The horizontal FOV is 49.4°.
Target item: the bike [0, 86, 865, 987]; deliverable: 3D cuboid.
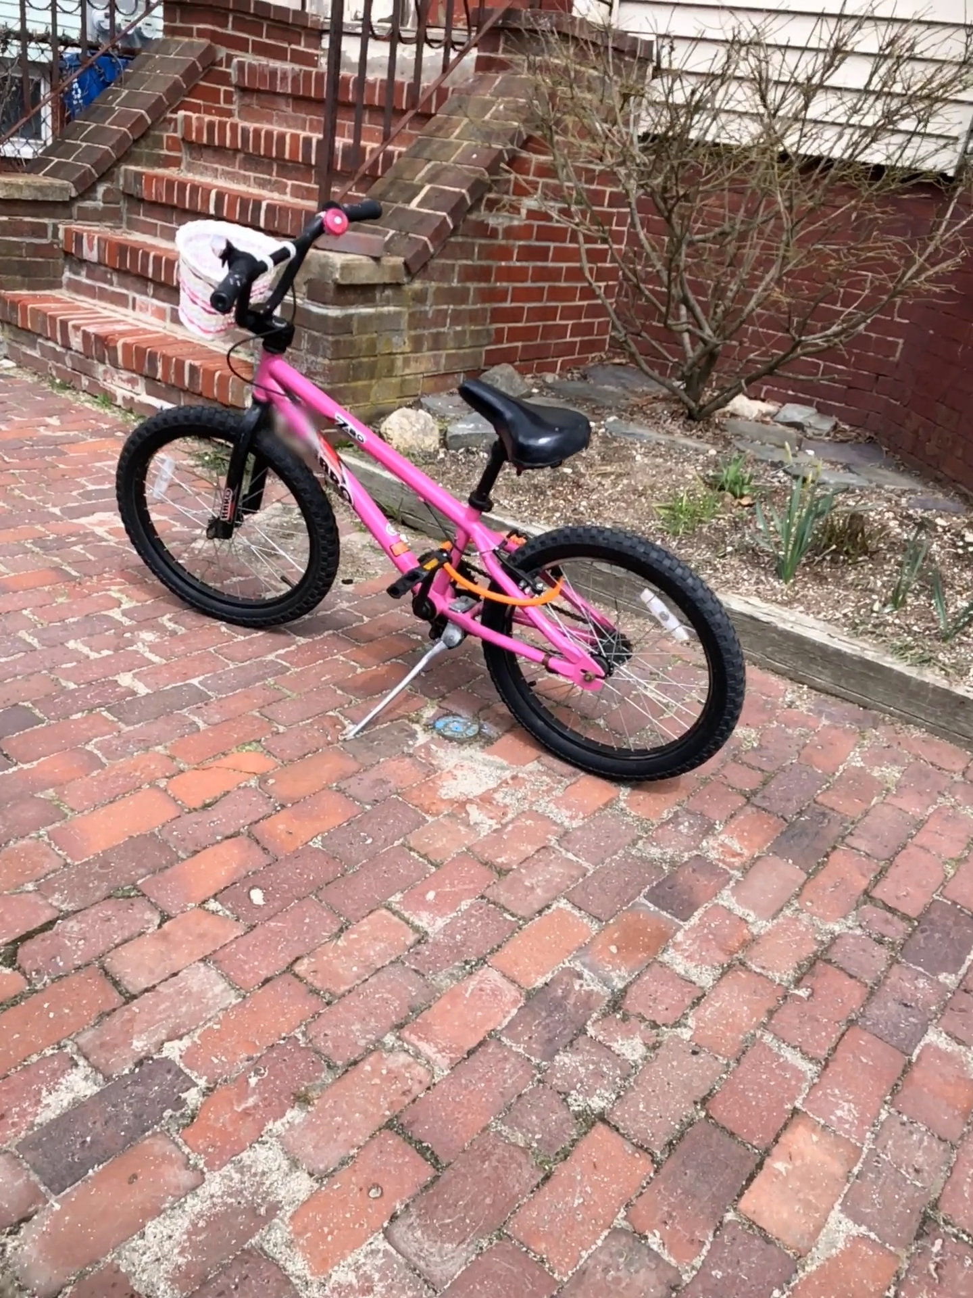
[{"bbox_3d":[-0.207,-0.280,1.816,1.338,0.907,0.714,21,27,19],"label":"bike"}]
